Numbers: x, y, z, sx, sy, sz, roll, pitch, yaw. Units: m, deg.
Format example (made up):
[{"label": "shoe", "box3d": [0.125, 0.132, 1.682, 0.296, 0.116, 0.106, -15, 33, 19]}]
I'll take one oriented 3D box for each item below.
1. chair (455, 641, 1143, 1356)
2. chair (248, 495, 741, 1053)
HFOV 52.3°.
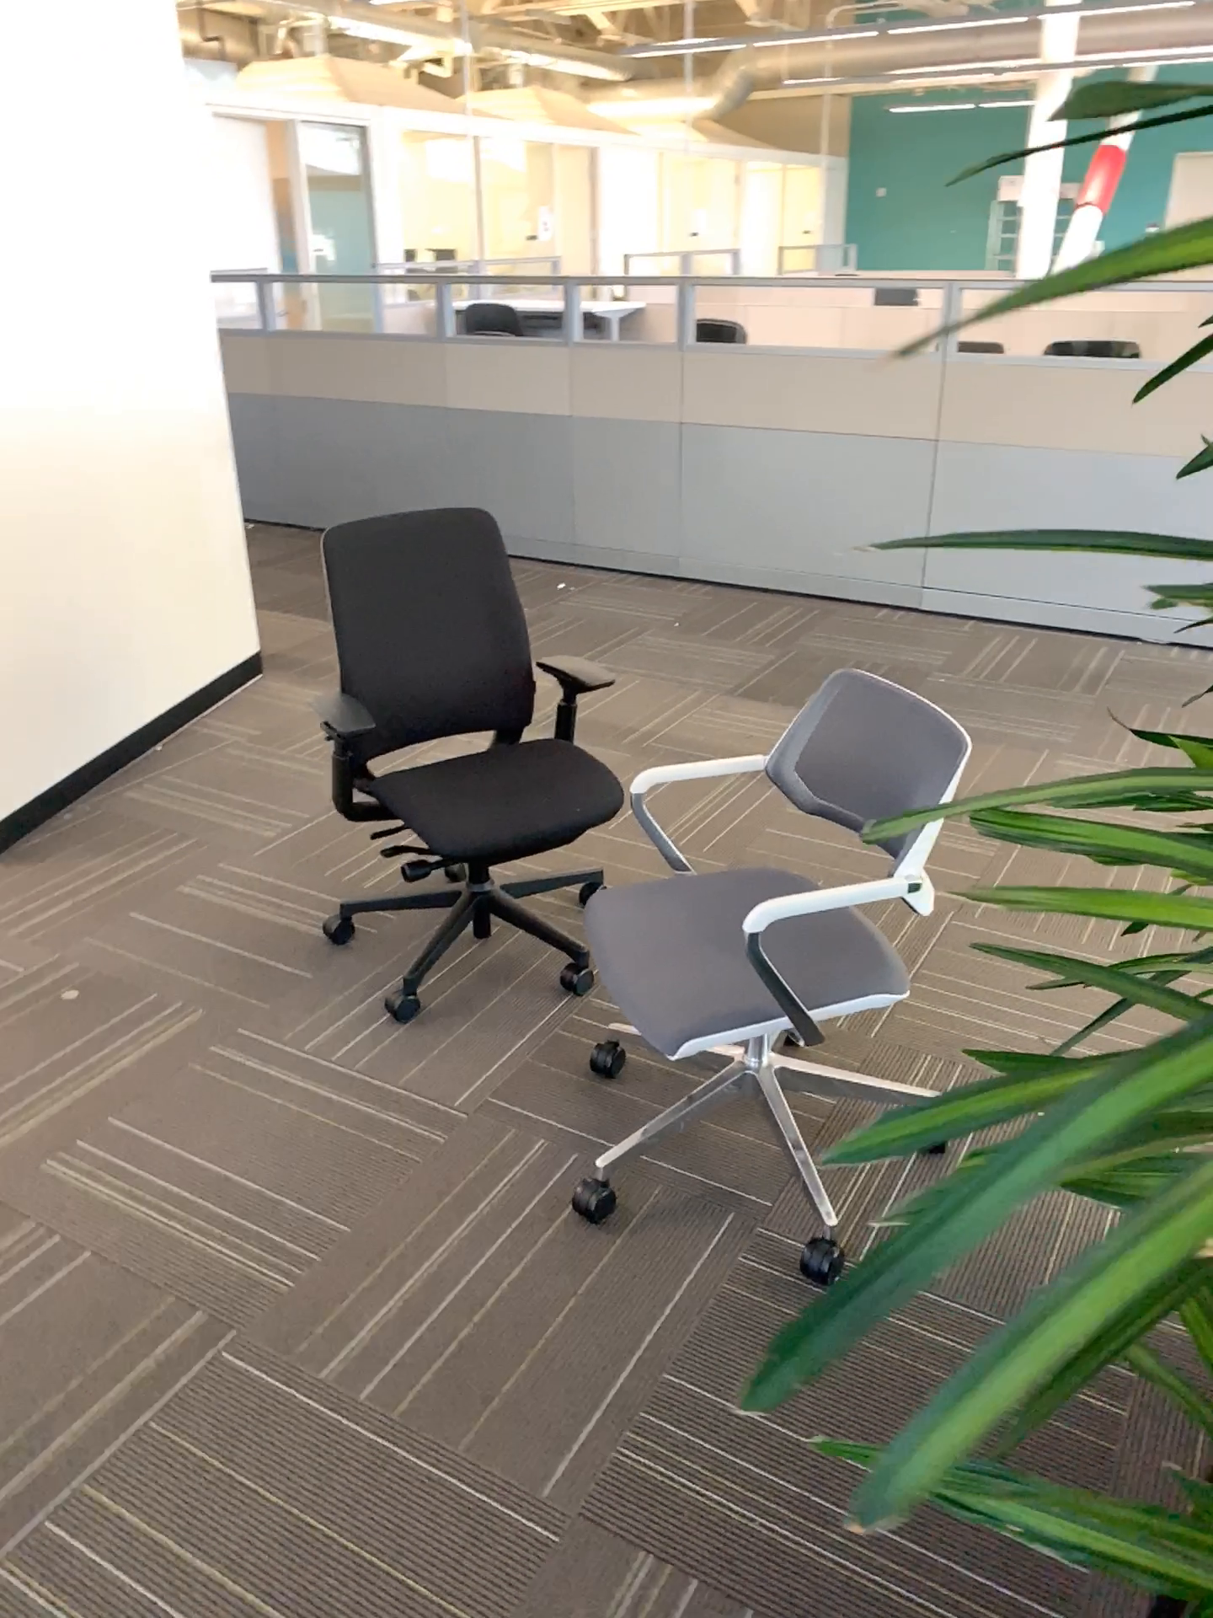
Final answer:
[{"label": "chair", "box3d": [0.255, 0.234, 2.128, 0.790, 0.756, 0.804, -10, 26, -20]}, {"label": "chair", "box3d": [-0.274, -0.151, 2.790, 0.800, 0.885, 0.855, -11, 27, -22]}]
